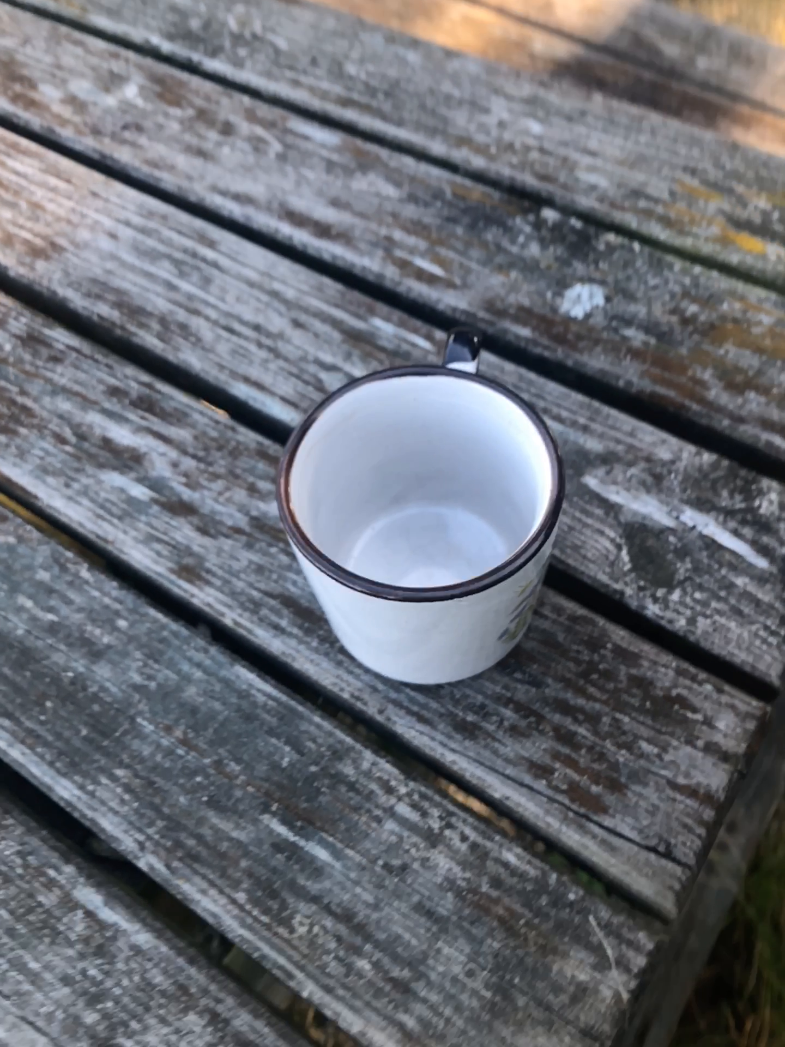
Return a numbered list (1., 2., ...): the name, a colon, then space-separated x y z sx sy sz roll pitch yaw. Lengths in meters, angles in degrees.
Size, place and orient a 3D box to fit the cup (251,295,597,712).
1. cup: 0.017 -0.007 0.300 0.086 0.078 0.109 8 62 11
